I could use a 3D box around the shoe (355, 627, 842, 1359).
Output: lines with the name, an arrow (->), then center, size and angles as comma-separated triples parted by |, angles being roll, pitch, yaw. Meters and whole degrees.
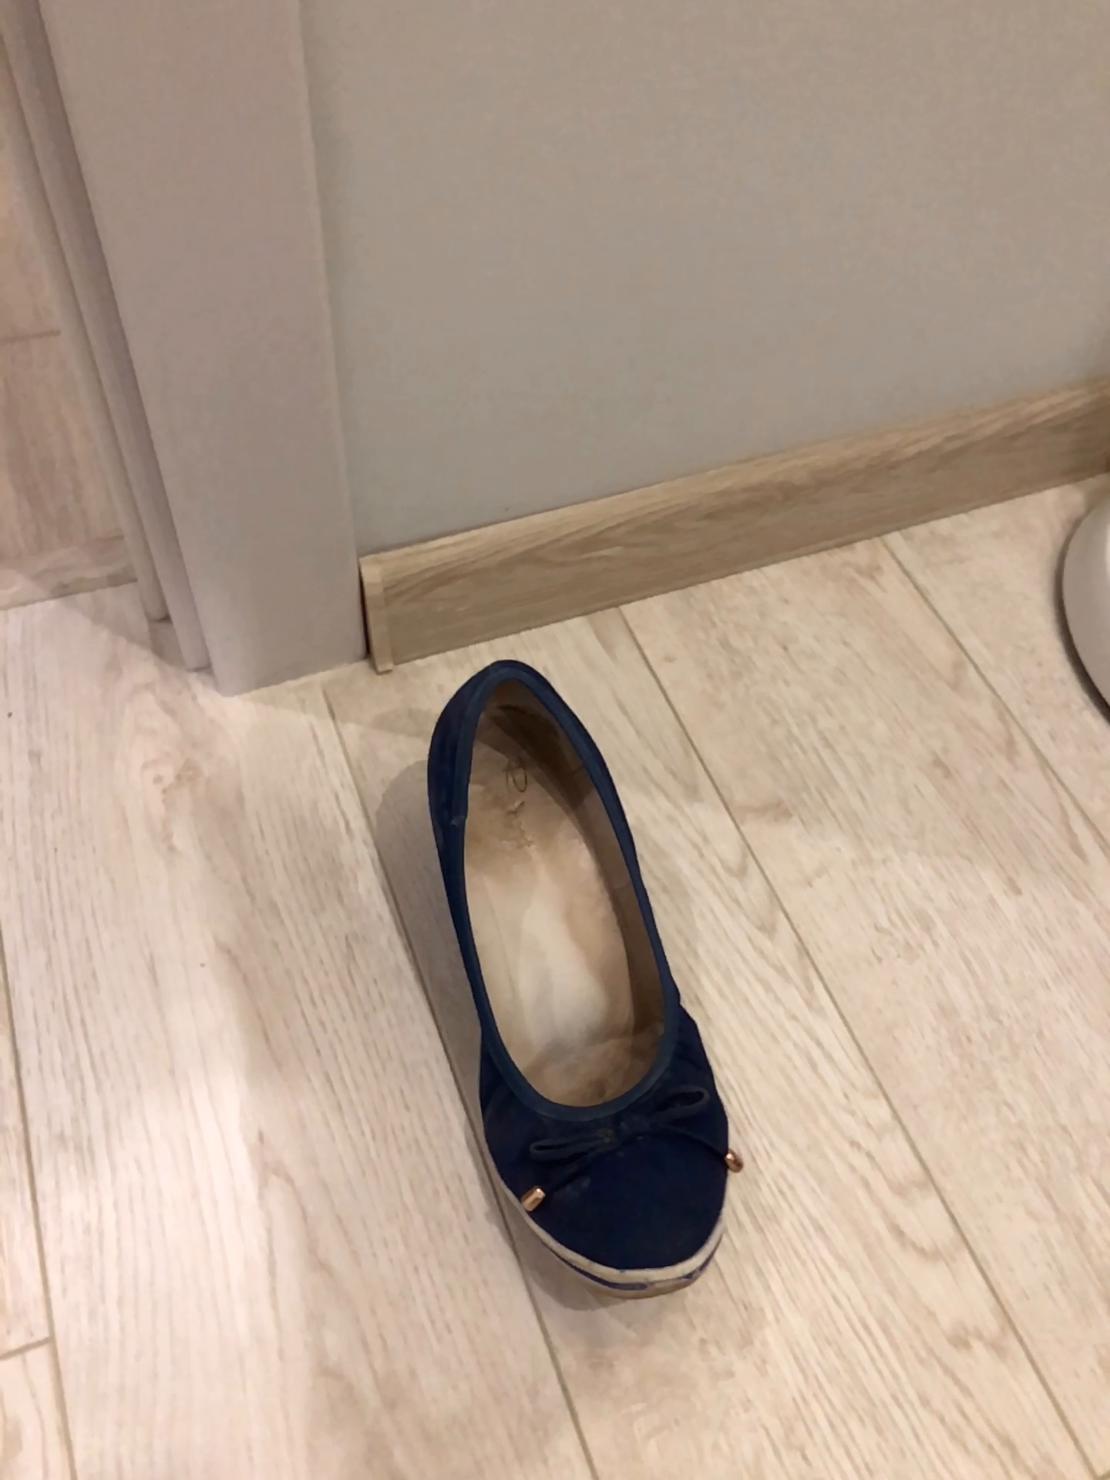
shoe -> 0.002, 0.087, 0.463 | 0.098, 0.109, 0.231 | -13, 56, -13
